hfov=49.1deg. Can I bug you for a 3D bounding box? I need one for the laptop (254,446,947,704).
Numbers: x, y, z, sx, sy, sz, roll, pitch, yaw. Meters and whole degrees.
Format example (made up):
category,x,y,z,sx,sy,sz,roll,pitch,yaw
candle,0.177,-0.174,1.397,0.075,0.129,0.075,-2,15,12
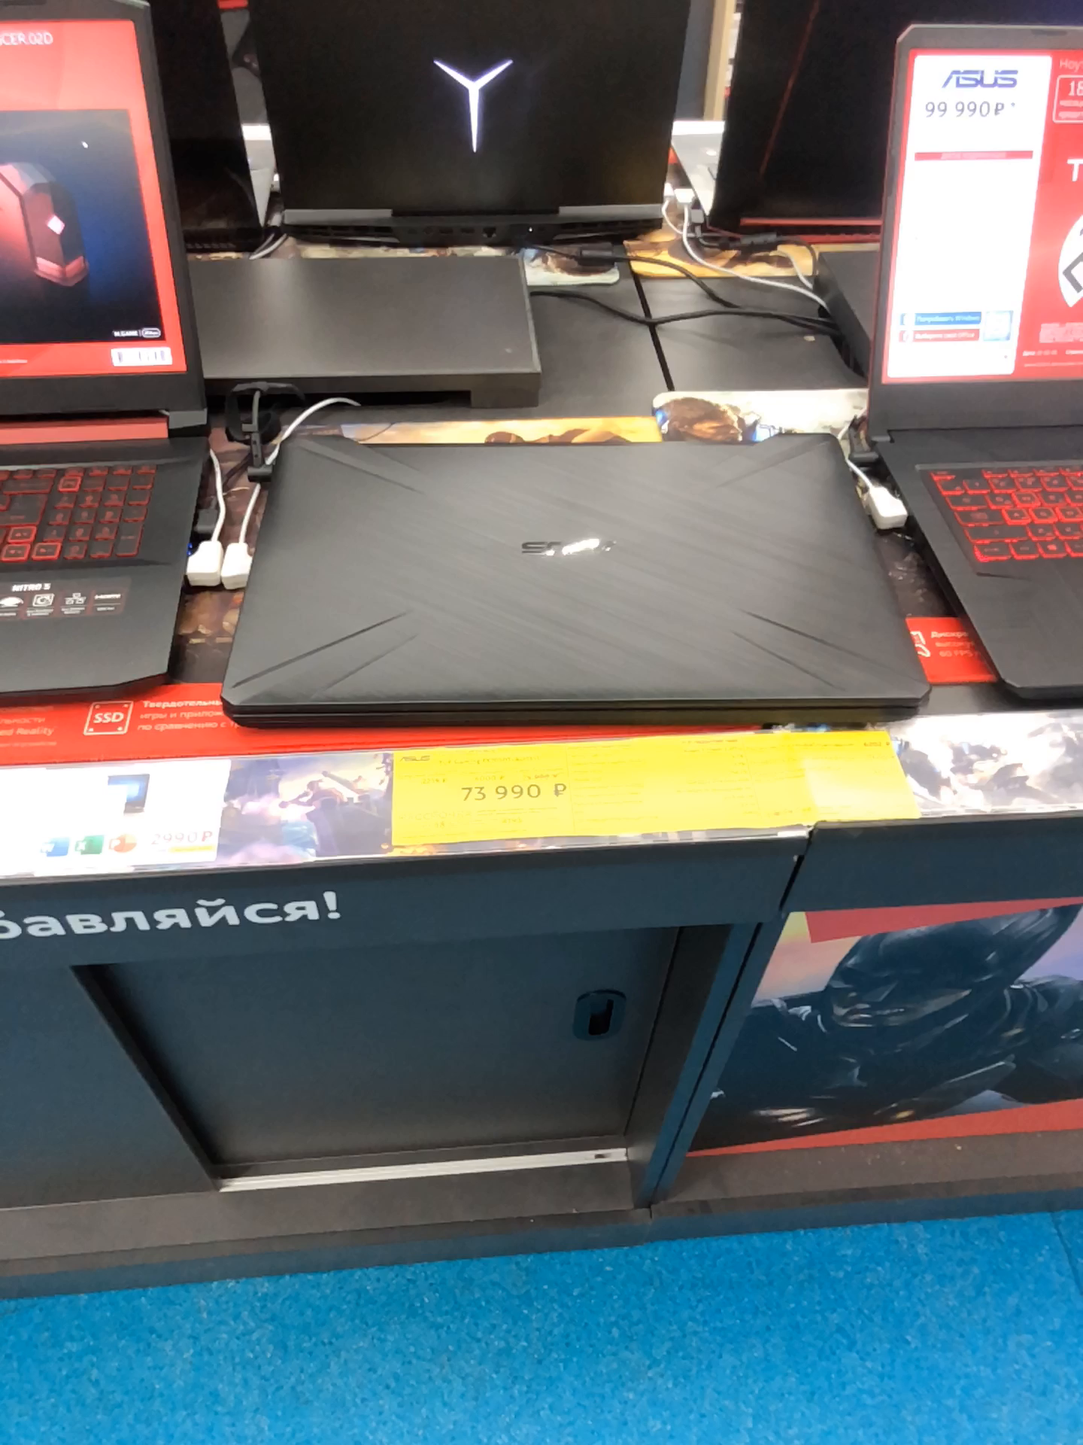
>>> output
category,x,y,z,sx,sy,sz,roll,pitch,yaw
laptop,0.029,-0.104,0.751,0.385,0.001,0.262,-1,44,-1
